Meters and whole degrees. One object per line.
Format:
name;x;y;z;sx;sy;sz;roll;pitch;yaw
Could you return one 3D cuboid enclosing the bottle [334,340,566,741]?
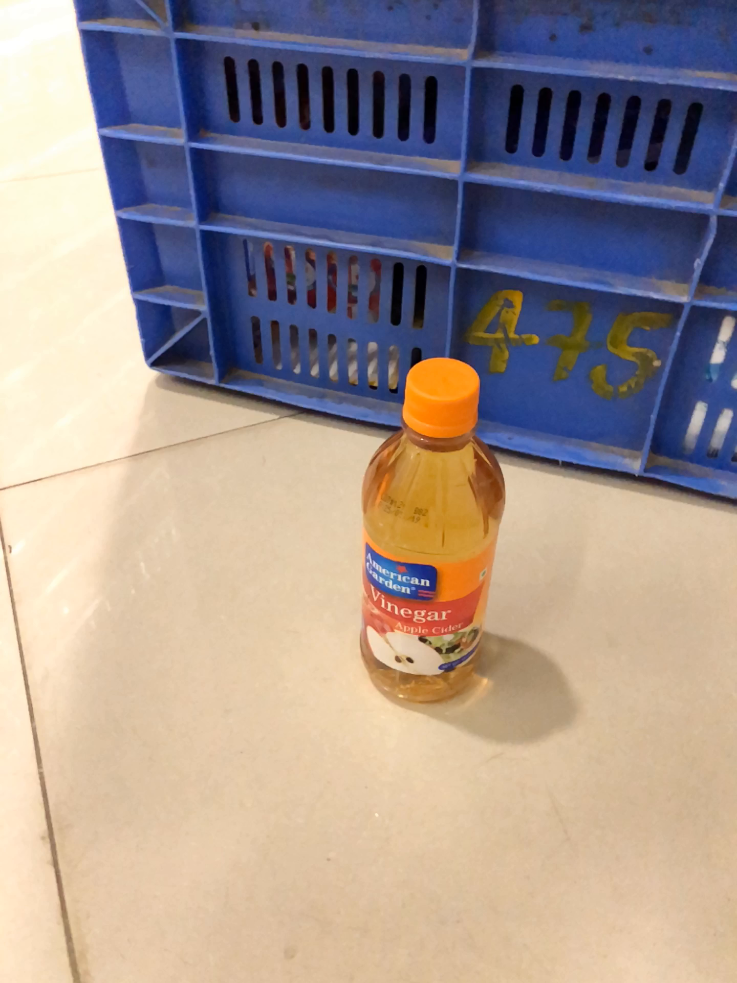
bottle;0.034;0.028;0.384;0.070;0.169;0.070;0;40;0
